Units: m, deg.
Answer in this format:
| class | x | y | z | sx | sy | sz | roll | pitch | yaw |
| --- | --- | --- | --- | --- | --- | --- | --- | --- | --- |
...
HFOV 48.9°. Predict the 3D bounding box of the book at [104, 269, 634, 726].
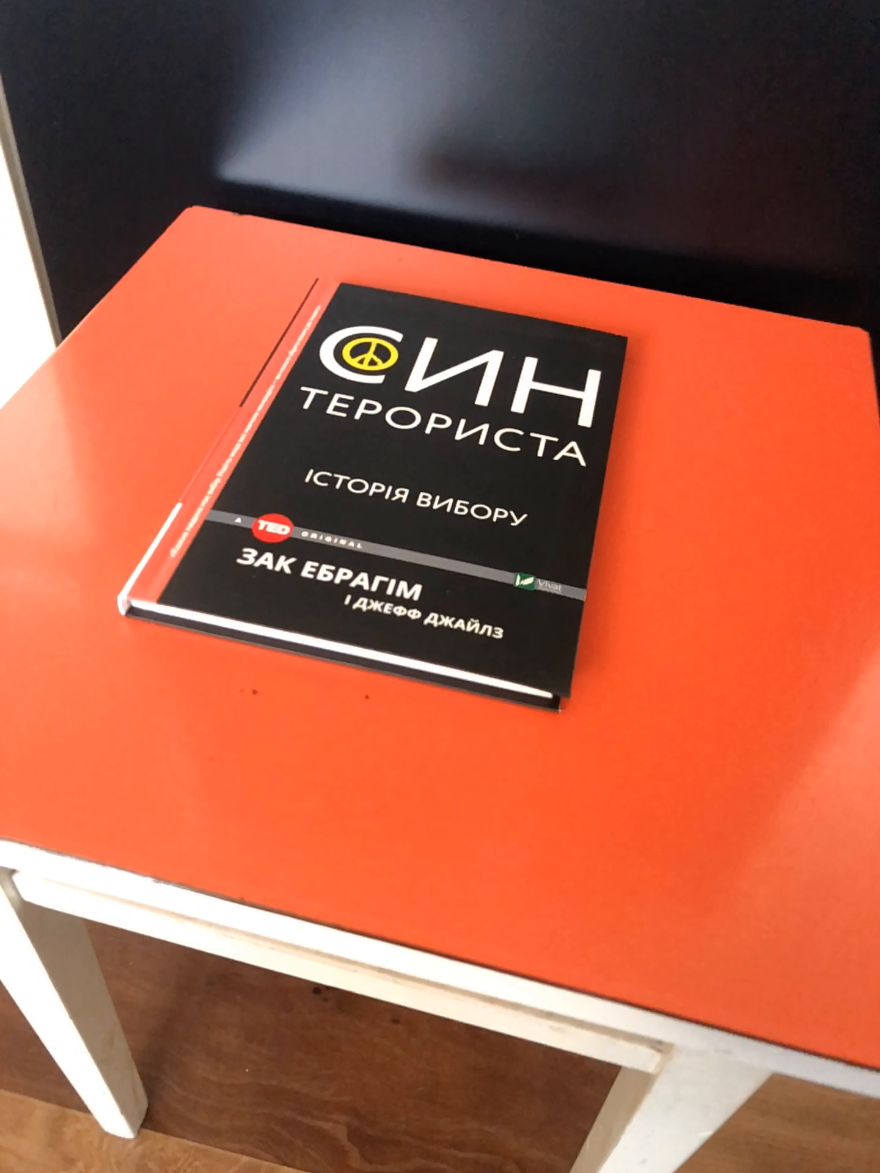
| class | x | y | z | sx | sy | sz | roll | pitch | yaw |
| --- | --- | --- | --- | --- | --- | --- | --- | --- | --- |
| book | -0.010 | -0.049 | 0.353 | 0.140 | 0.016 | 0.198 | 12 | 47 | 6 |
